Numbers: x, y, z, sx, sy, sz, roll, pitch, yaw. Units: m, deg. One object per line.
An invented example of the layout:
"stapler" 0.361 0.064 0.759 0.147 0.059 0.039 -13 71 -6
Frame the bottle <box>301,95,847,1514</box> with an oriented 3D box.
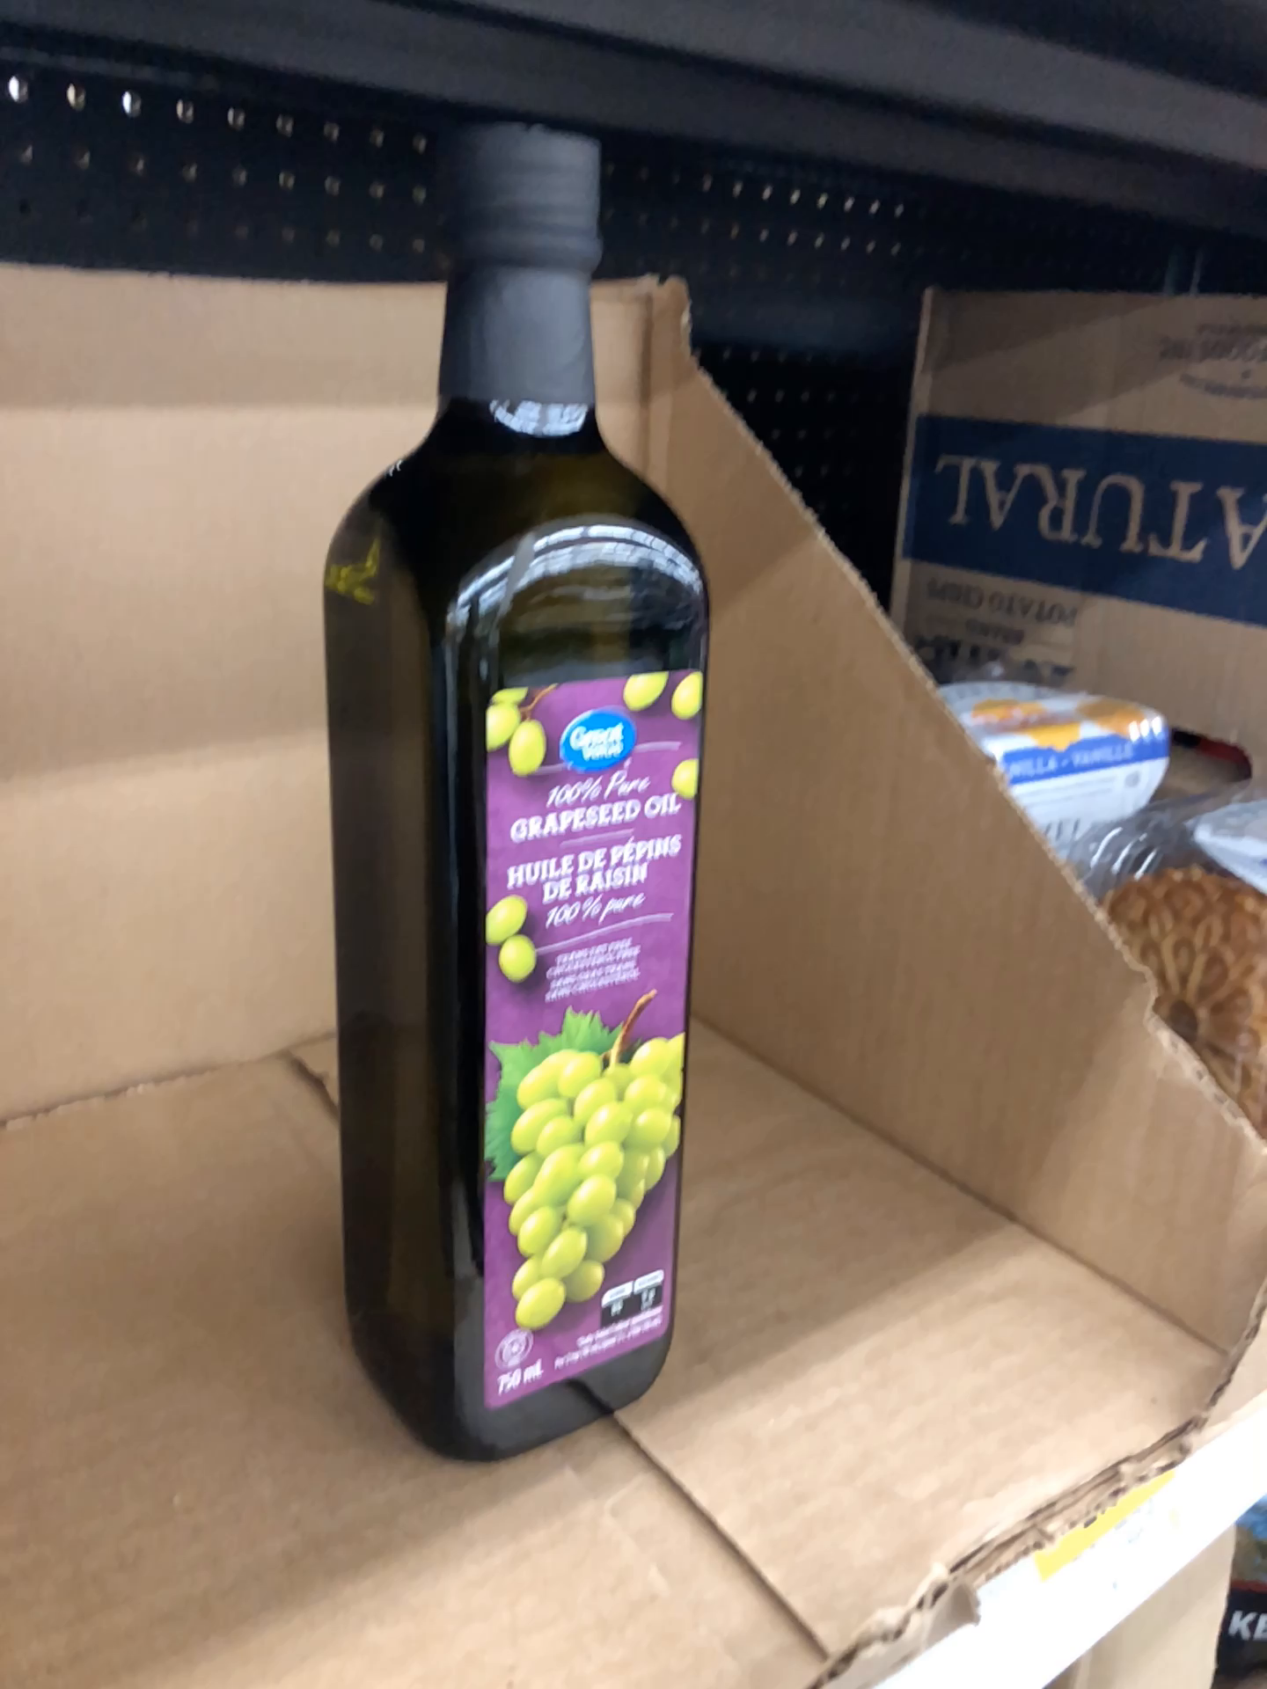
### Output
"bottle" -0.020 0.001 0.304 0.080 0.278 0.060 -11 25 -34
